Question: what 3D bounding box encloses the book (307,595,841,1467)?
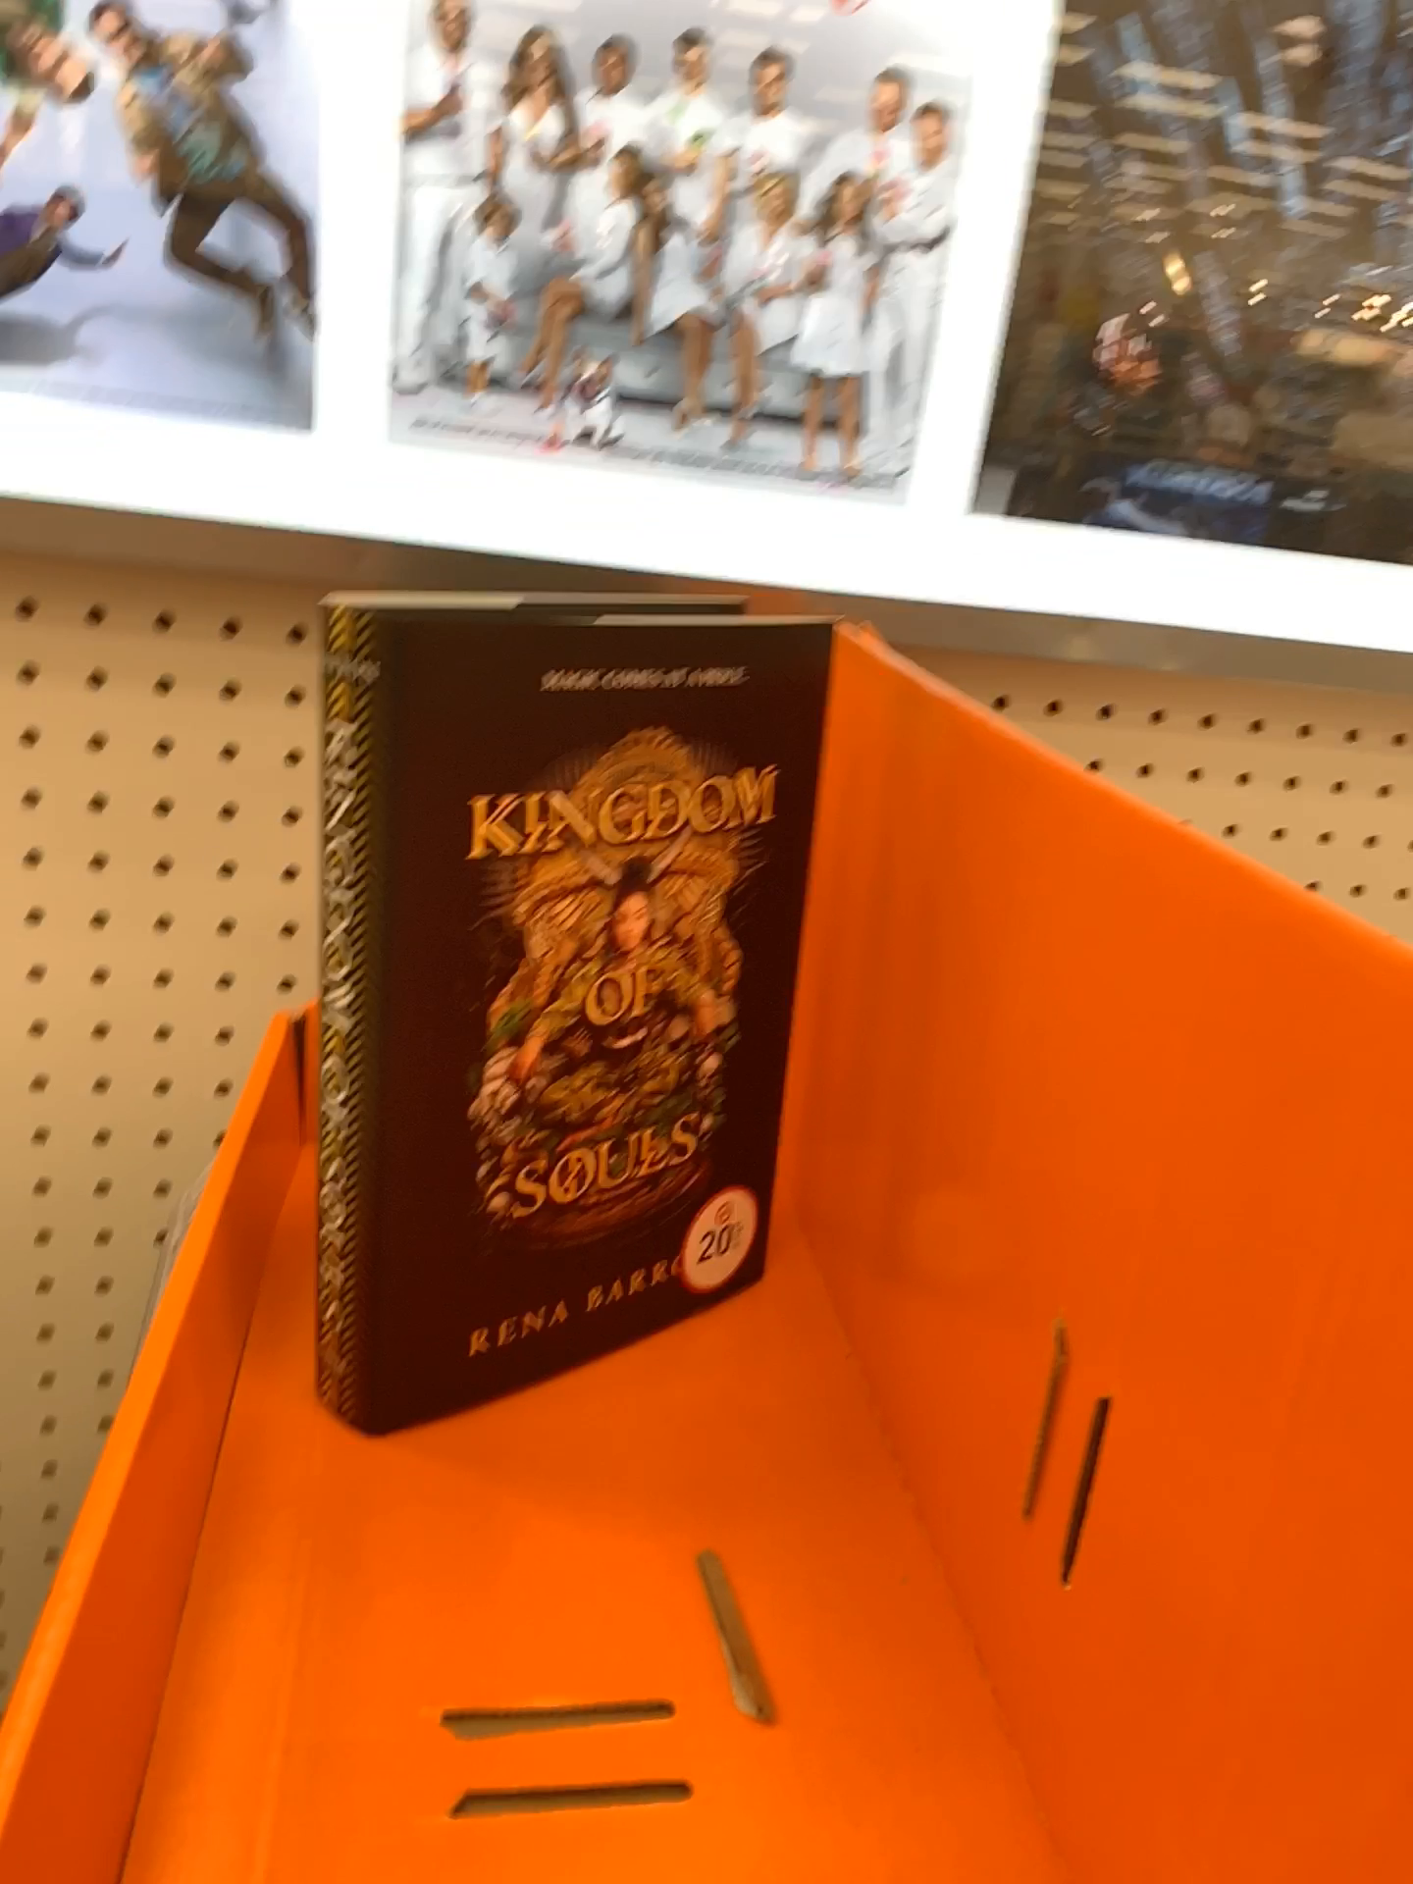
[{"bbox_3d":[-0.040,0.019,0.449,0.160,0.241,0.040,-10,22,-41],"label":"book"}]
